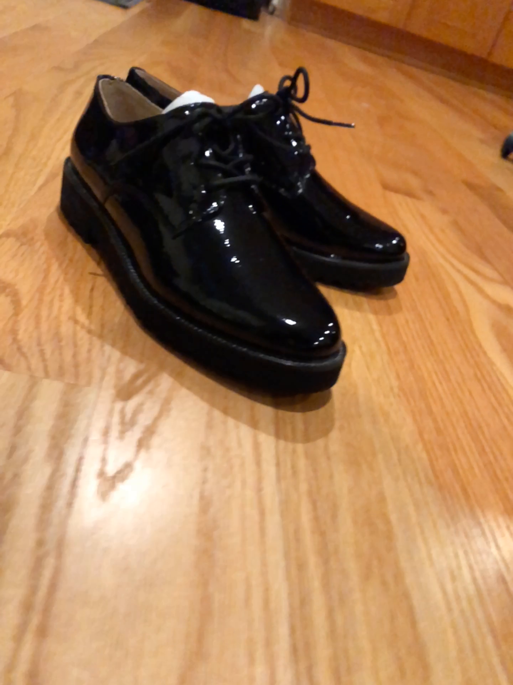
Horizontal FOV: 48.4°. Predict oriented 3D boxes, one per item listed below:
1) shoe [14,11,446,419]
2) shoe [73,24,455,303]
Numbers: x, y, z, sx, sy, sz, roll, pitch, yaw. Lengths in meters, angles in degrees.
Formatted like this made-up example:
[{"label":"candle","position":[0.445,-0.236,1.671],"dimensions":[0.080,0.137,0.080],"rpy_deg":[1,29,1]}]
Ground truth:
[{"label":"shoe","position":[-0.039,-0.089,0.325],"dimensions":[0.095,0.101,0.251],"rpy_deg":[-14,46,-40]},{"label":"shoe","position":[0.005,-0.141,0.427],"dimensions":[0.251,0.101,0.096],"rpy_deg":[24,33,7]}]
